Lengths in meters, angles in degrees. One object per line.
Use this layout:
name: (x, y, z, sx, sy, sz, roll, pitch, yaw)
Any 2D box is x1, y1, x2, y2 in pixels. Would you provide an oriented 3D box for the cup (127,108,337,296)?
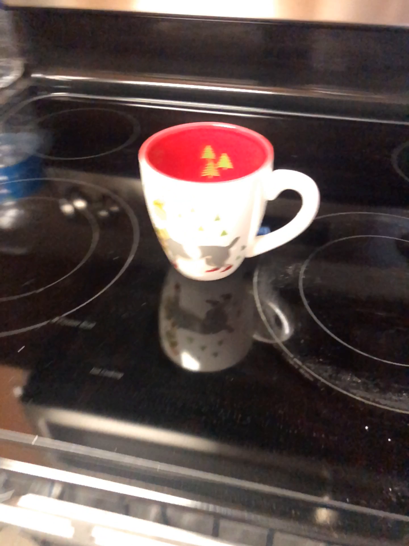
cup: (0.025, -0.060, 0.370, 0.140, 0.100, 0.100, 7, 43, 8)
